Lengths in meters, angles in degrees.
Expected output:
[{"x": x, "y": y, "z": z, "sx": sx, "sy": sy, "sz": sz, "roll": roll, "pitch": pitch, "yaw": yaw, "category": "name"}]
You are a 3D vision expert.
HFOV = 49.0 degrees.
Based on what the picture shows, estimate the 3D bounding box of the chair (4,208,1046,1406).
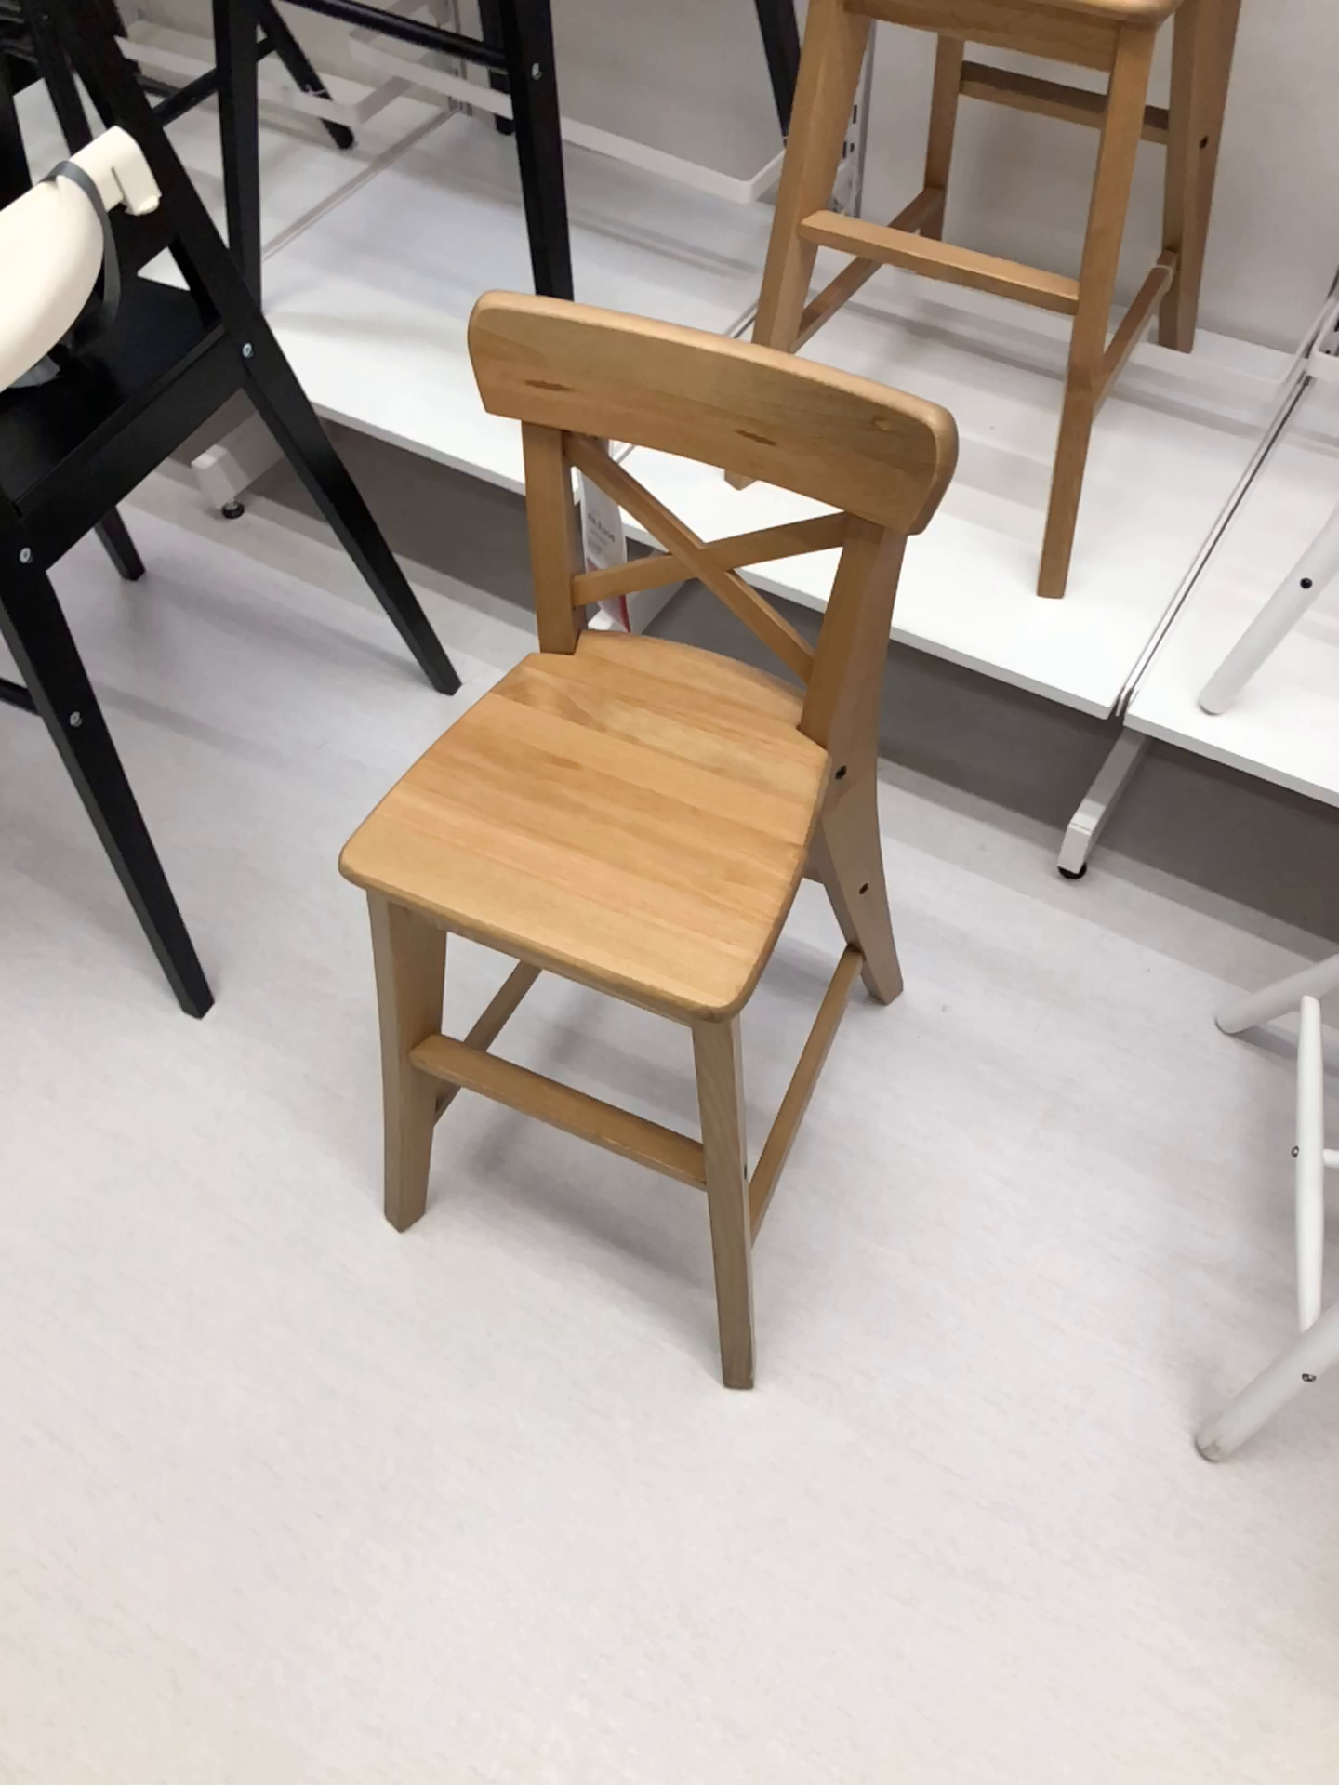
[{"x": -0.046, "y": -0.018, "z": 1.055, "sx": 0.391, "sy": 0.676, "sz": 0.432, "roll": 22, "pitch": 58, "yaw": 17, "category": "chair"}]
